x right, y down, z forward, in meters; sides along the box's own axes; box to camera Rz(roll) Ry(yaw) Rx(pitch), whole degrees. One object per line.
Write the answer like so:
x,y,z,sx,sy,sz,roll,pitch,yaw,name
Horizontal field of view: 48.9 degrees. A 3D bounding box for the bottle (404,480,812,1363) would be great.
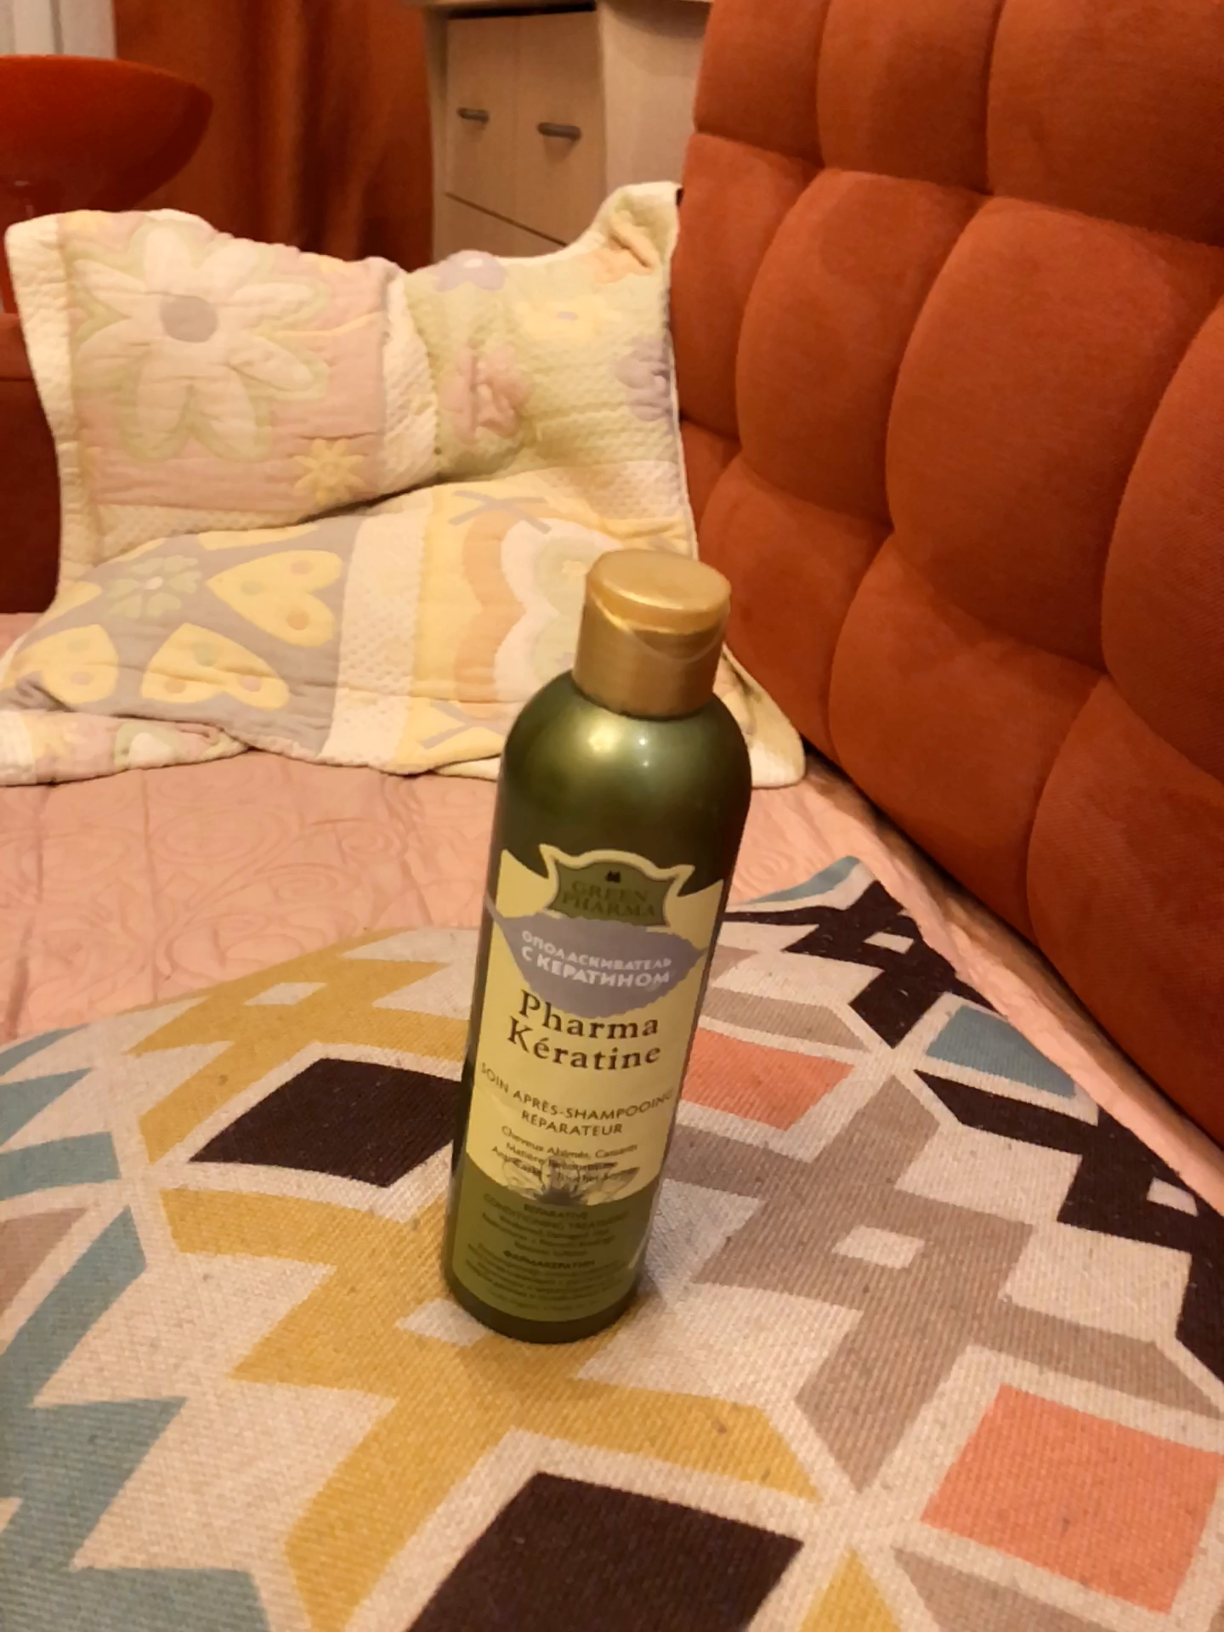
-0.005,0.028,0.298,0.060,0.179,0.070,8,29,0,bottle
